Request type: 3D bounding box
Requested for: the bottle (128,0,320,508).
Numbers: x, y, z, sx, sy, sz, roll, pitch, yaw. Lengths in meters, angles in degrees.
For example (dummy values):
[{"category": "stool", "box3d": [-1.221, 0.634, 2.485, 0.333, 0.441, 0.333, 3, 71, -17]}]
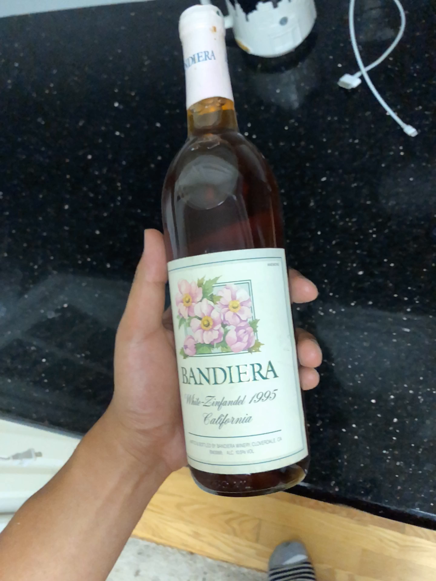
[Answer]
[{"category": "bottle", "box3d": [0.006, -0.029, 0.311, 0.080, 0.070, 0.300, -6, 87, 16]}]
